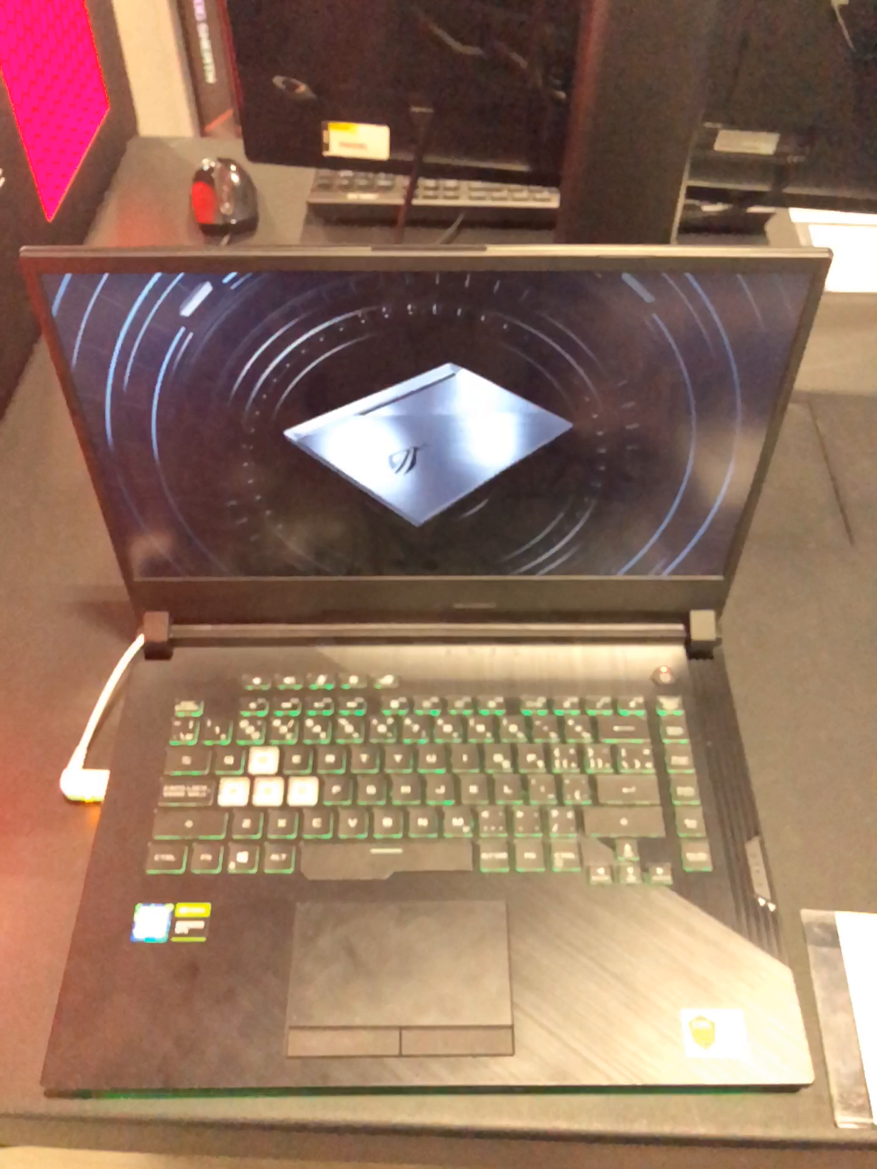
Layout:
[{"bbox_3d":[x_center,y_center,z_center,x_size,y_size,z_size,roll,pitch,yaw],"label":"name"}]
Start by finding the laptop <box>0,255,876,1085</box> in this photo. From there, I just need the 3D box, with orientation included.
[{"bbox_3d":[-0.004,0.049,0.447,0.360,0.268,0.276,0,52,-1],"label":"laptop"}]
